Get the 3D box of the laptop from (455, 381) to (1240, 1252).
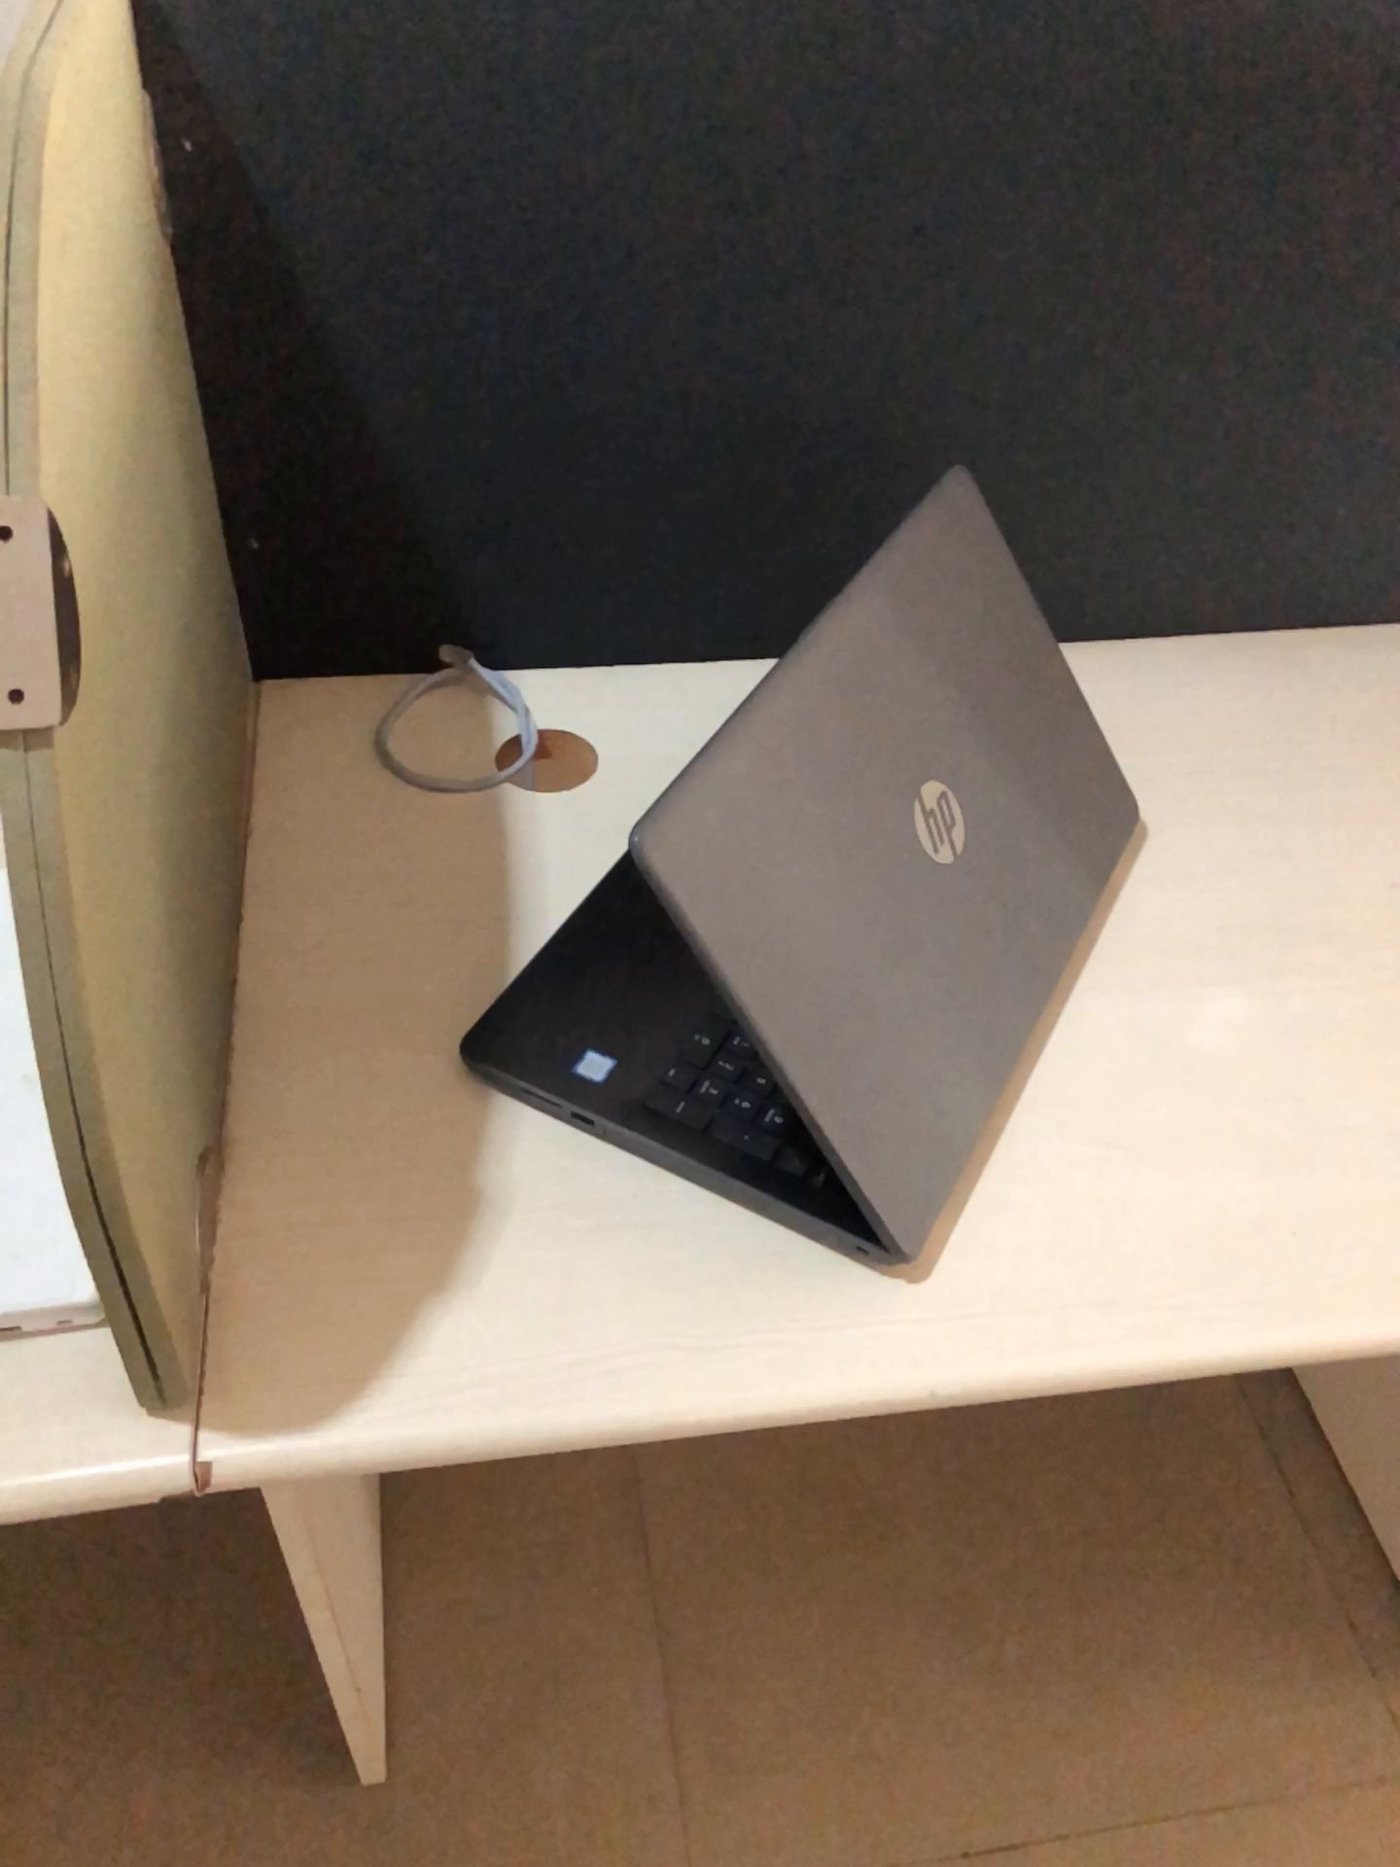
[{"bbox_3d":[0.086,-0.083,0.797,0.247,0.204,0.363,23,48,17],"label":"laptop"}]
